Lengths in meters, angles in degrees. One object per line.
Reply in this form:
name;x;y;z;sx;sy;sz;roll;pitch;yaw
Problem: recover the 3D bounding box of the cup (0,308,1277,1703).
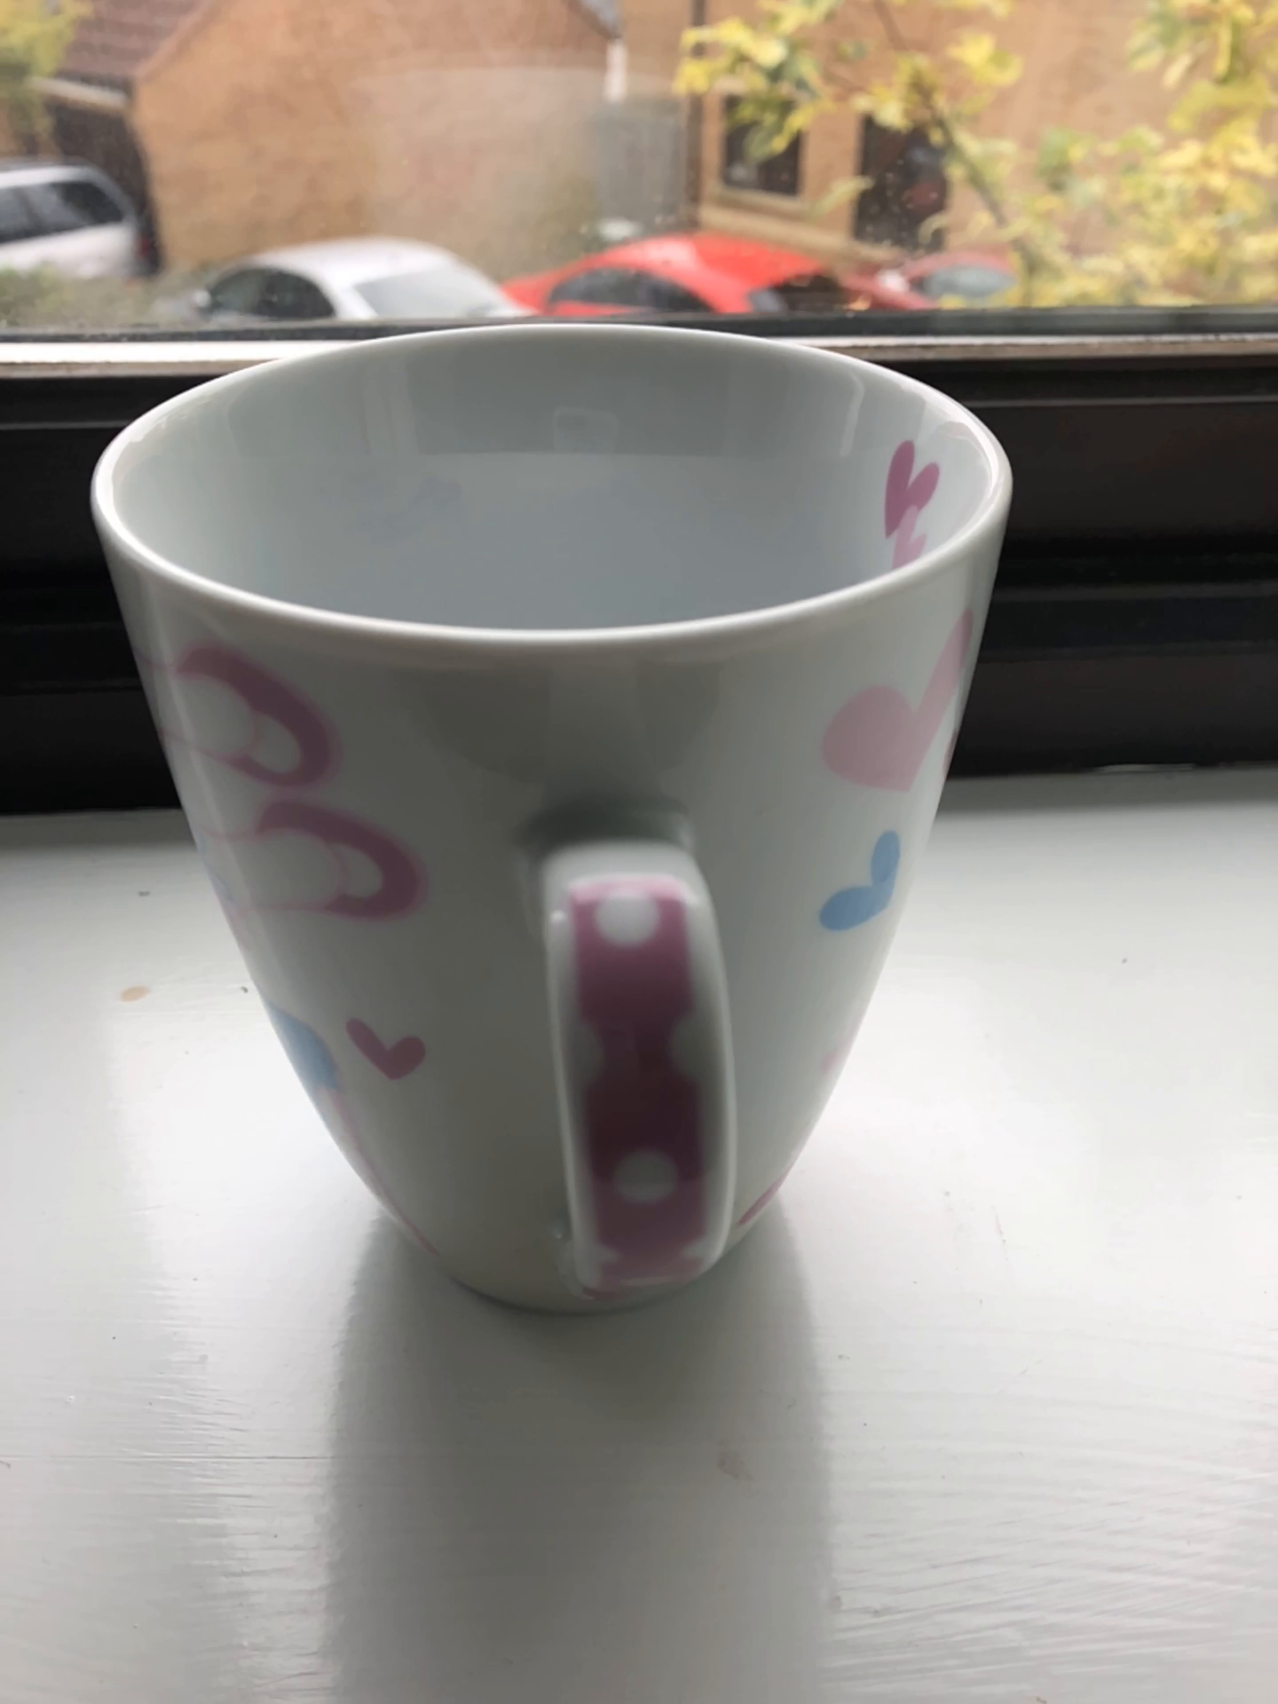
cup;-0.002;-0.001;0.173;0.110;0.089;0.141;-6;34;-9
